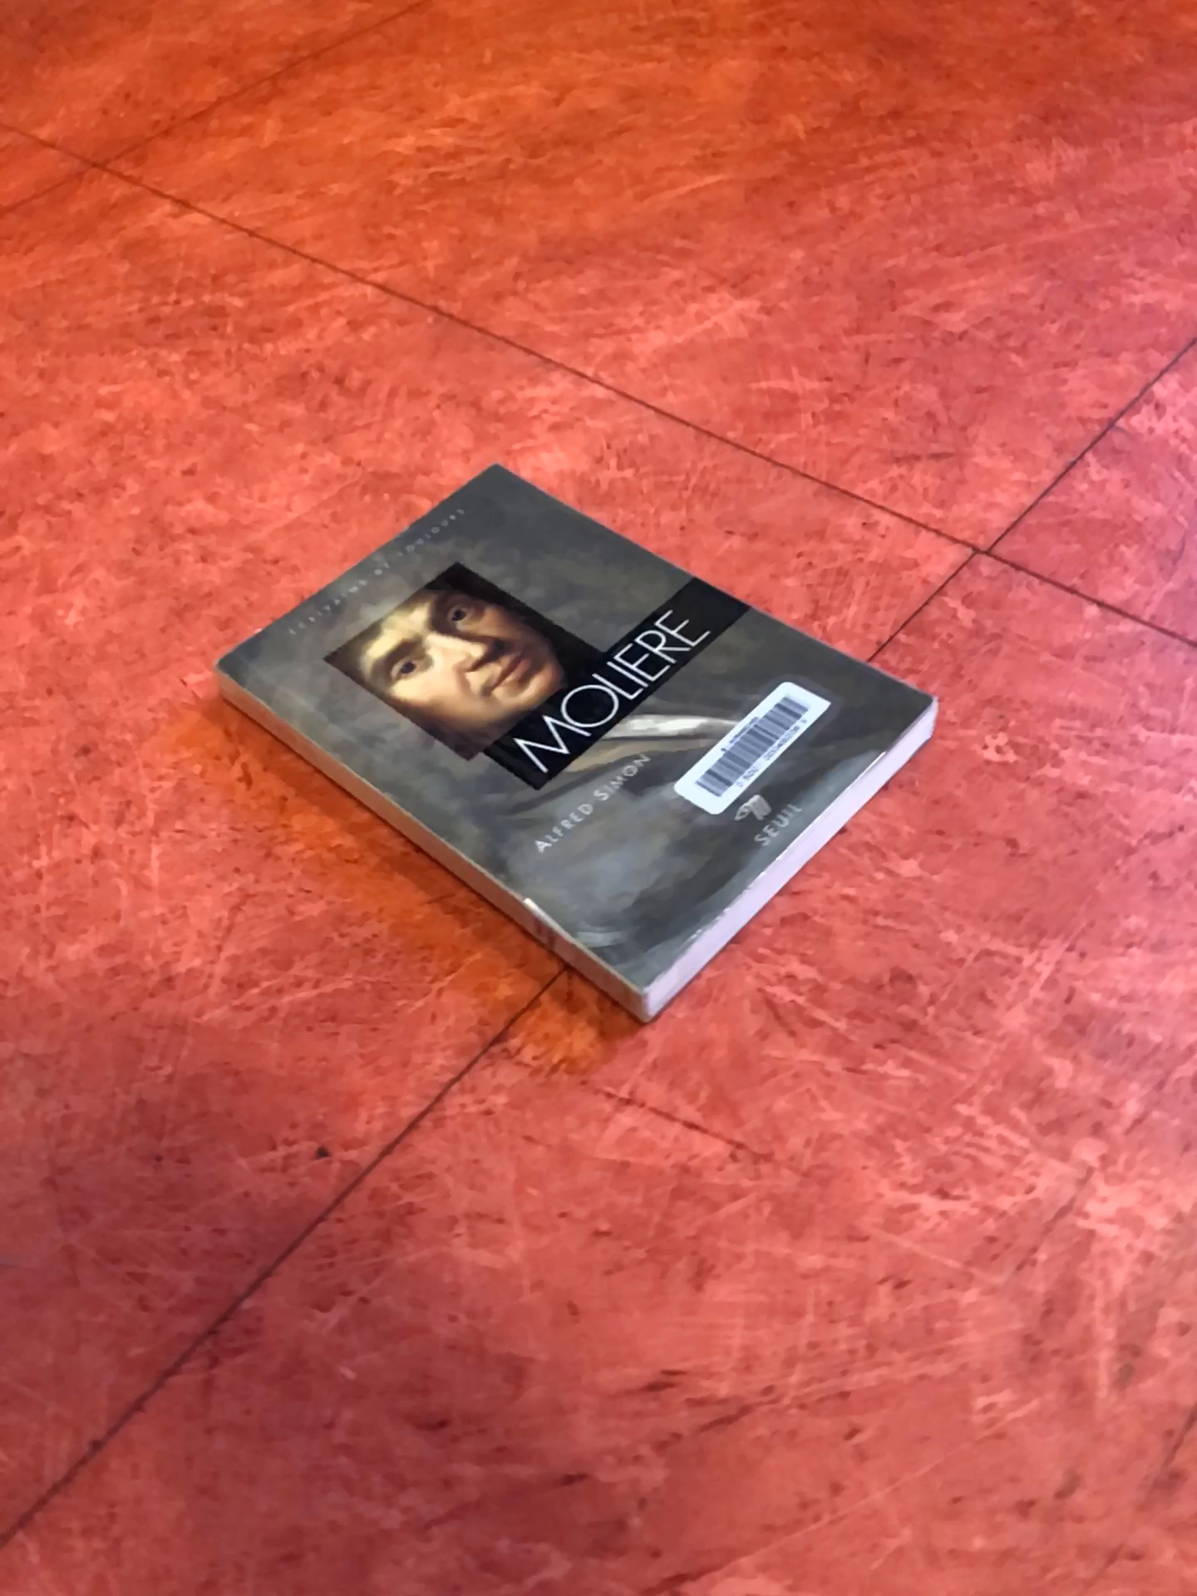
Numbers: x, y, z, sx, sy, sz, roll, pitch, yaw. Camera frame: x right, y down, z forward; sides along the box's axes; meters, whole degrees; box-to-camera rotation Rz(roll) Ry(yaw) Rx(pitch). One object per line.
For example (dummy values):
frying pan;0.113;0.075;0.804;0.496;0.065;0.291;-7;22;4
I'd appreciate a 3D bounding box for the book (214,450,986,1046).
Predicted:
book;-0.004;-0.030;0.389;0.183;0.015;0.135;34;62;29
